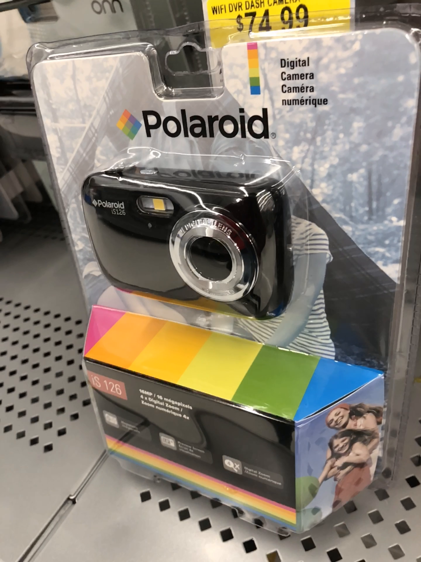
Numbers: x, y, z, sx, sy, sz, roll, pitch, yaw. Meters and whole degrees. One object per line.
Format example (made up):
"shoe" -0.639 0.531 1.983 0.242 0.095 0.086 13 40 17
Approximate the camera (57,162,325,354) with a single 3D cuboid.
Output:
"camera" -0.007 -0.013 0.198 0.100 0.060 0.030 10 43 28
